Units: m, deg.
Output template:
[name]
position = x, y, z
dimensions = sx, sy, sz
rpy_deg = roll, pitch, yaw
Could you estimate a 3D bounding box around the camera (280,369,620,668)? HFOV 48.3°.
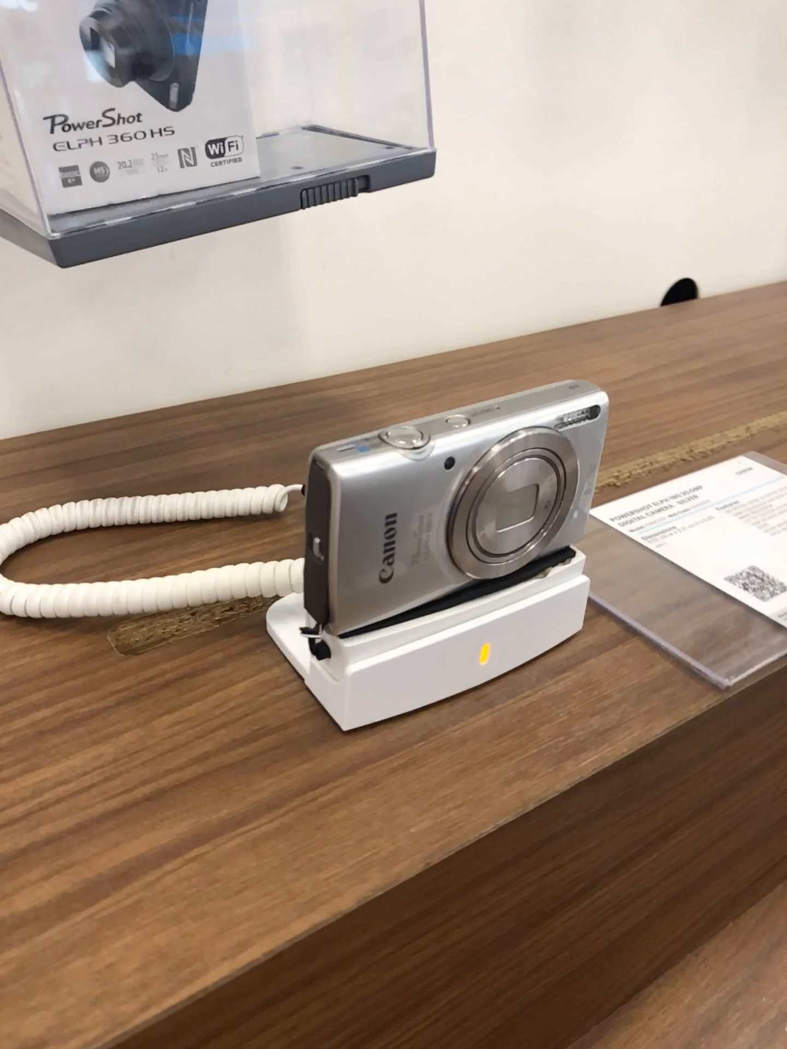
[camera]
position = 0.017, -0.004, 0.252
dimensions = 0.100, 0.060, 0.020
rpy_deg = -18, 40, -30
